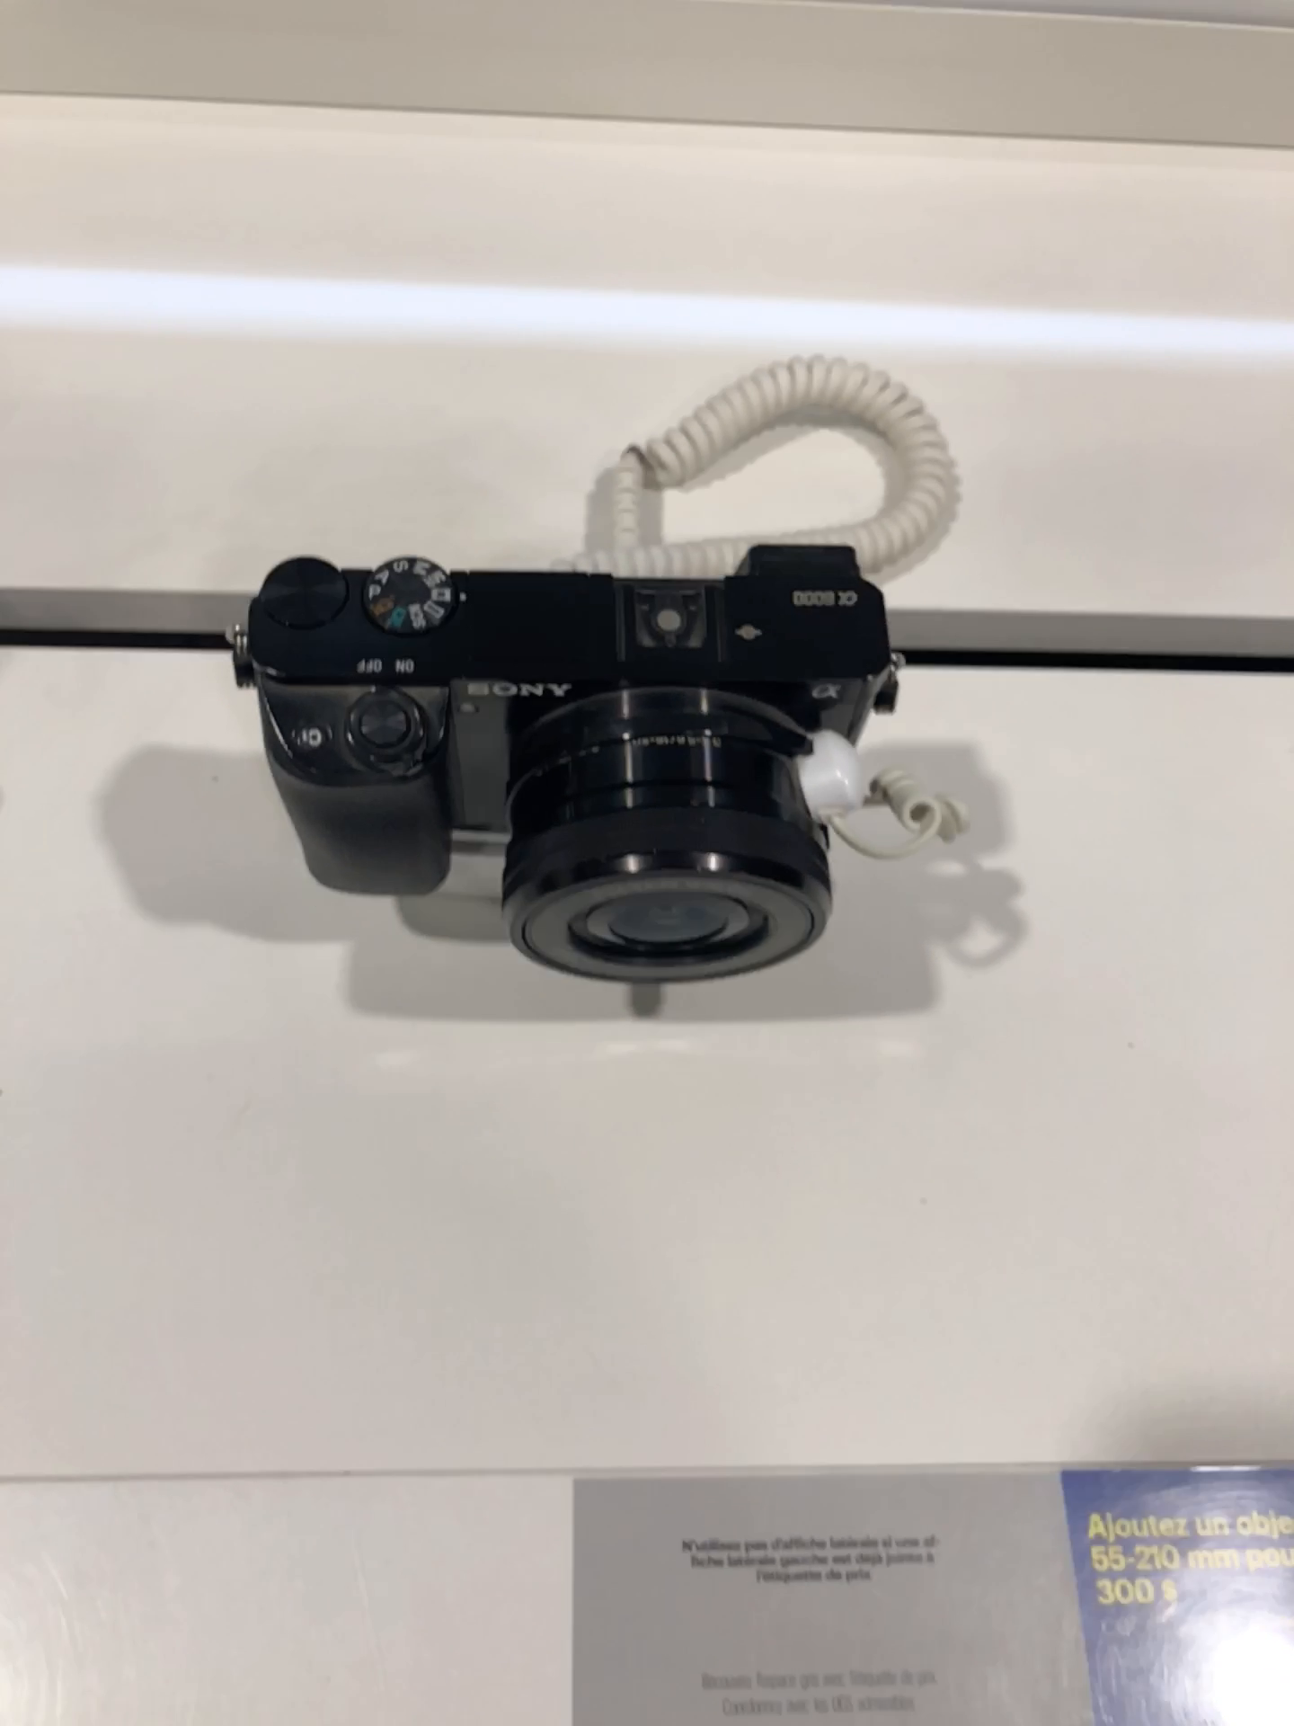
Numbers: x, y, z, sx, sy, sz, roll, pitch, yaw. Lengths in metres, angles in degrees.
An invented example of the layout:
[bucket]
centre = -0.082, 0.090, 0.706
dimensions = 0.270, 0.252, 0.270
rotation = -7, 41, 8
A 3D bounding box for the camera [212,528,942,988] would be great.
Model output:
[camera]
centre = -0.014, -0.020, 0.307
dimensions = 0.130, 0.078, 0.065
rotation = -1, 63, -3
